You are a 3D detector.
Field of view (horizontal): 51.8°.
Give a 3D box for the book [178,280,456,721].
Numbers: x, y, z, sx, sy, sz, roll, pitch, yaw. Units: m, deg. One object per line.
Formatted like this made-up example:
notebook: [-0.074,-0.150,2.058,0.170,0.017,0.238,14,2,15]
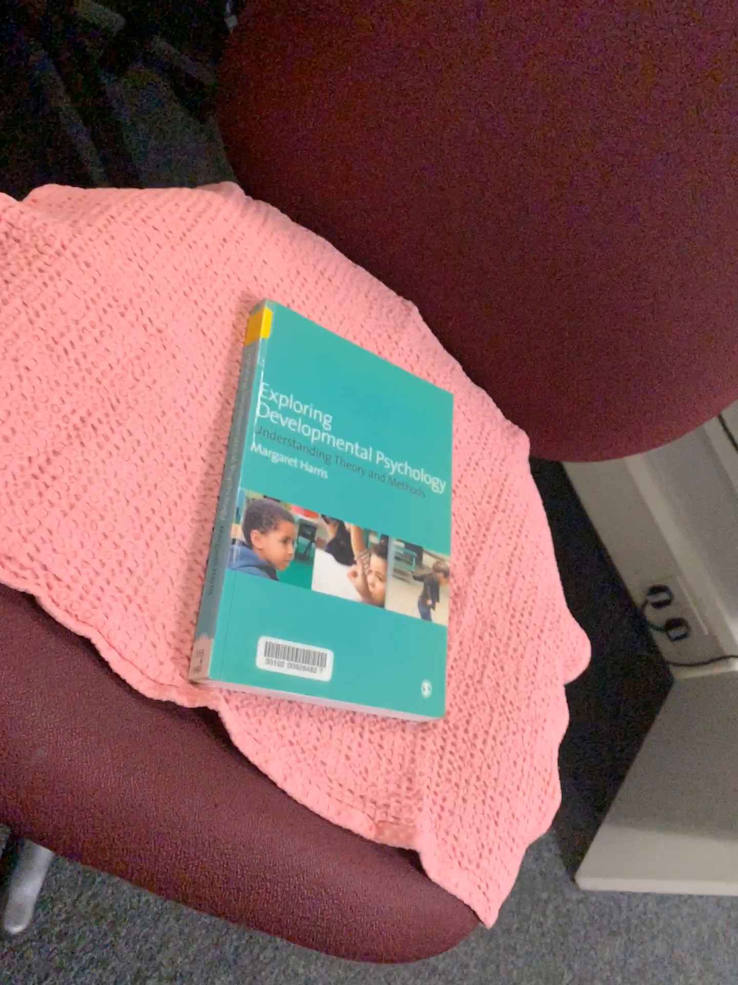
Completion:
book: [-0.017,0.009,0.487,0.176,0.030,0.246,21,61,-35]
